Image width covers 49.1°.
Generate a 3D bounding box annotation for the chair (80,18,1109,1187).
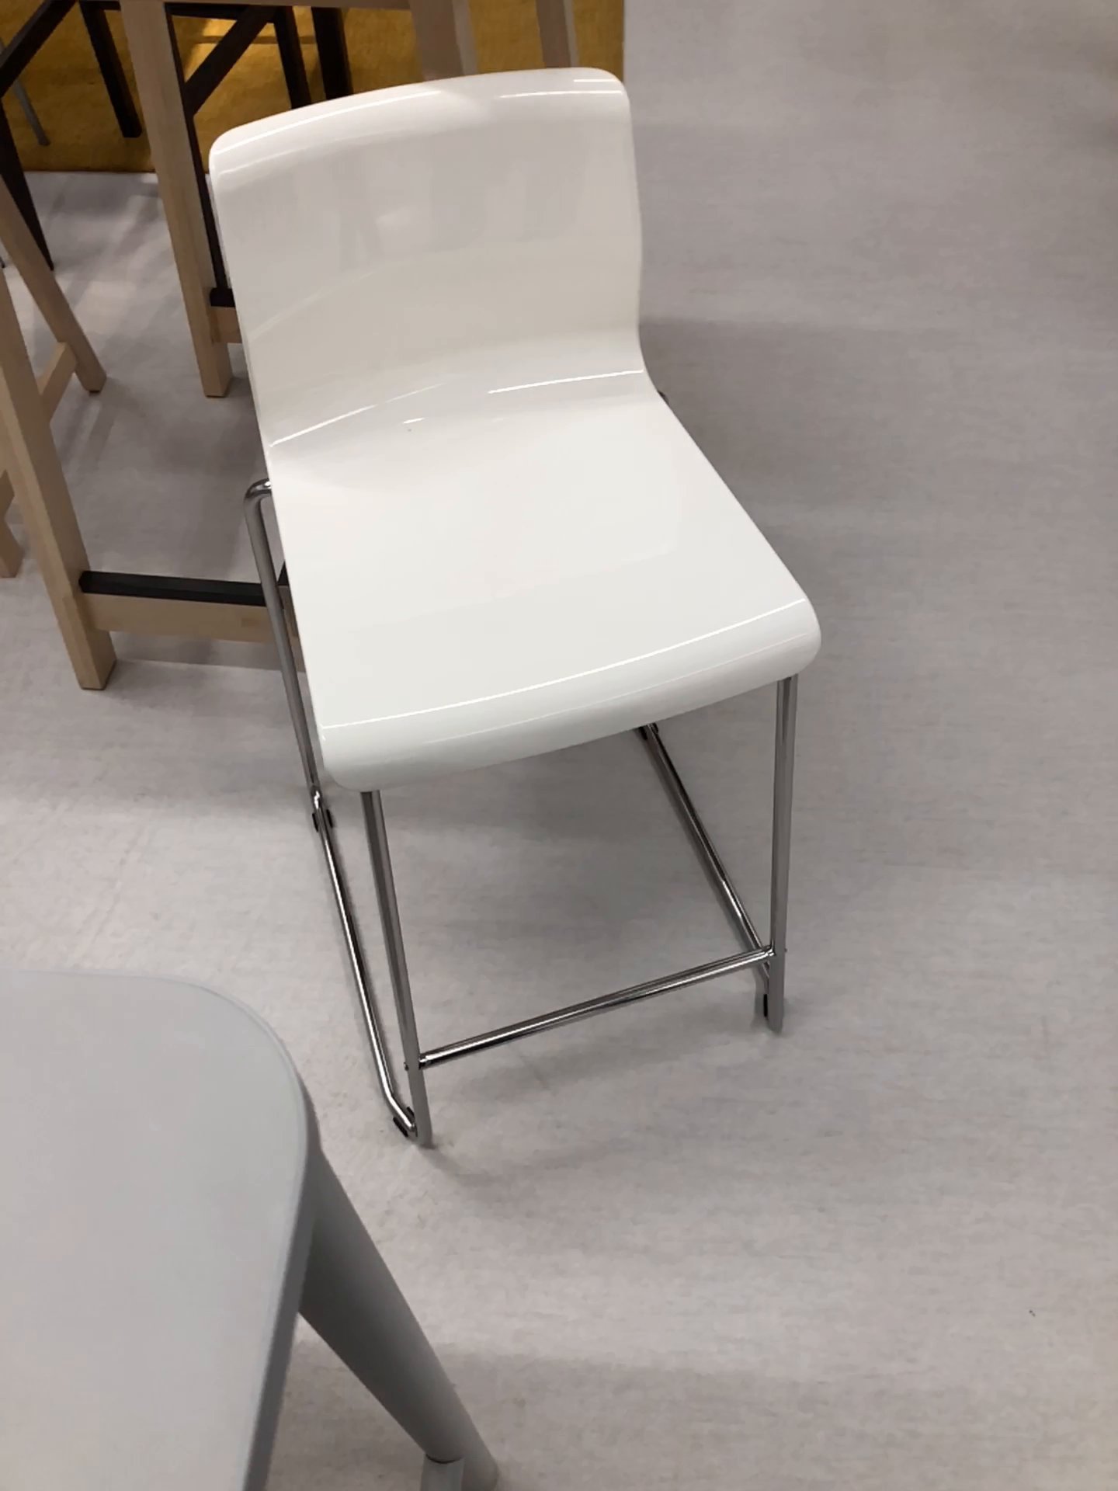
[{"bbox_3d":[-0.016,-0.065,1.124,0.500,0.826,0.553,-17,56,-11],"label":"chair"}]
